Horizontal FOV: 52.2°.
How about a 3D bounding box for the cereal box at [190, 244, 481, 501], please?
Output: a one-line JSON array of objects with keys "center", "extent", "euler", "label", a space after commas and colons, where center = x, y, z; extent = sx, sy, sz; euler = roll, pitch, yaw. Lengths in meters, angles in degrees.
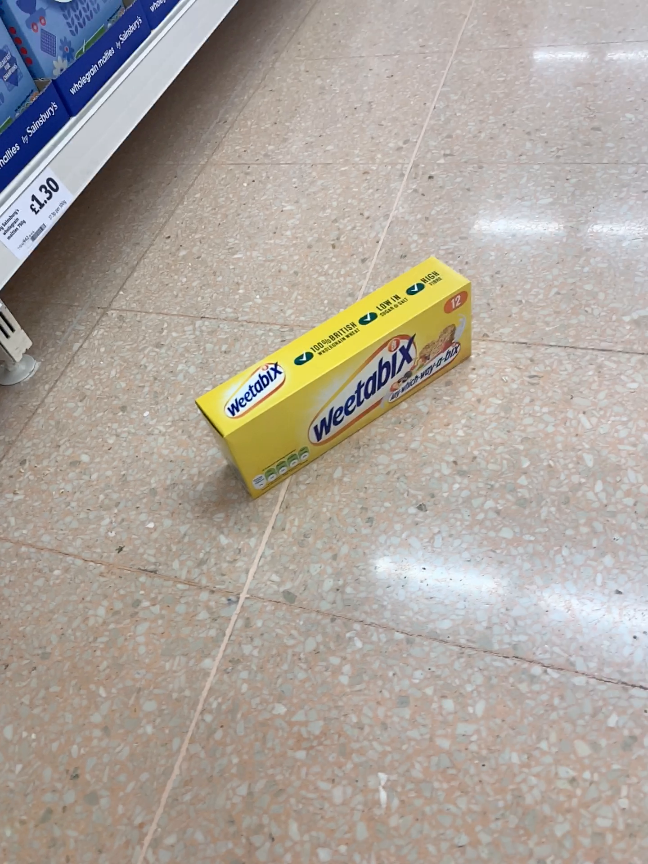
[{"center": [0.022, -0.054, 0.583], "extent": [0.260, 0.099, 0.050], "euler": [-33, 52, -13], "label": "cereal box"}]
